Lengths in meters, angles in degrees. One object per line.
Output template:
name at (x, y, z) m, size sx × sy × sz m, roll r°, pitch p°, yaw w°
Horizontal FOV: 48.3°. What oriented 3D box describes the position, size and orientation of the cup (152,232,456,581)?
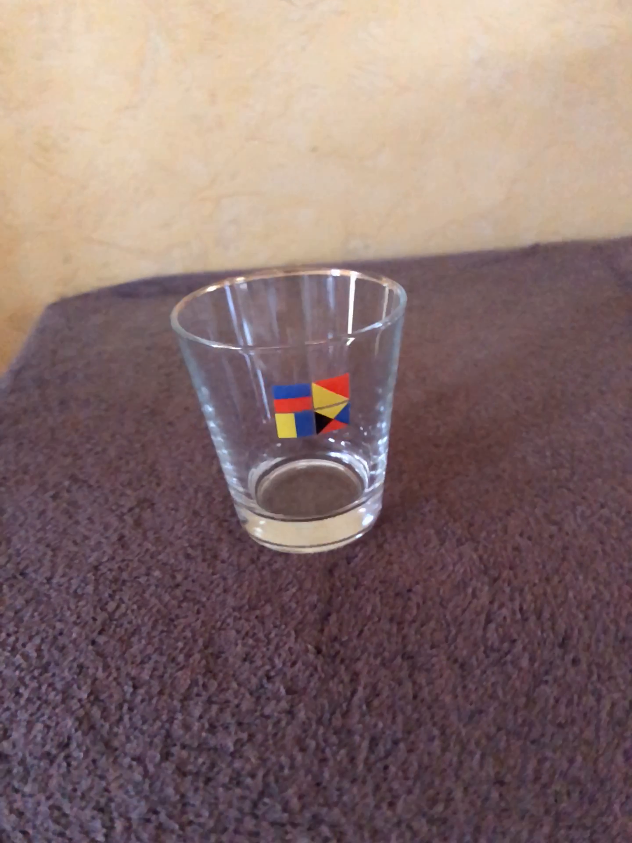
cup at (-0.006, -0.011, 0.245) m, size 0.080 × 0.080 × 0.080 m, roll -4°, pitch 29°, yaw 2°
